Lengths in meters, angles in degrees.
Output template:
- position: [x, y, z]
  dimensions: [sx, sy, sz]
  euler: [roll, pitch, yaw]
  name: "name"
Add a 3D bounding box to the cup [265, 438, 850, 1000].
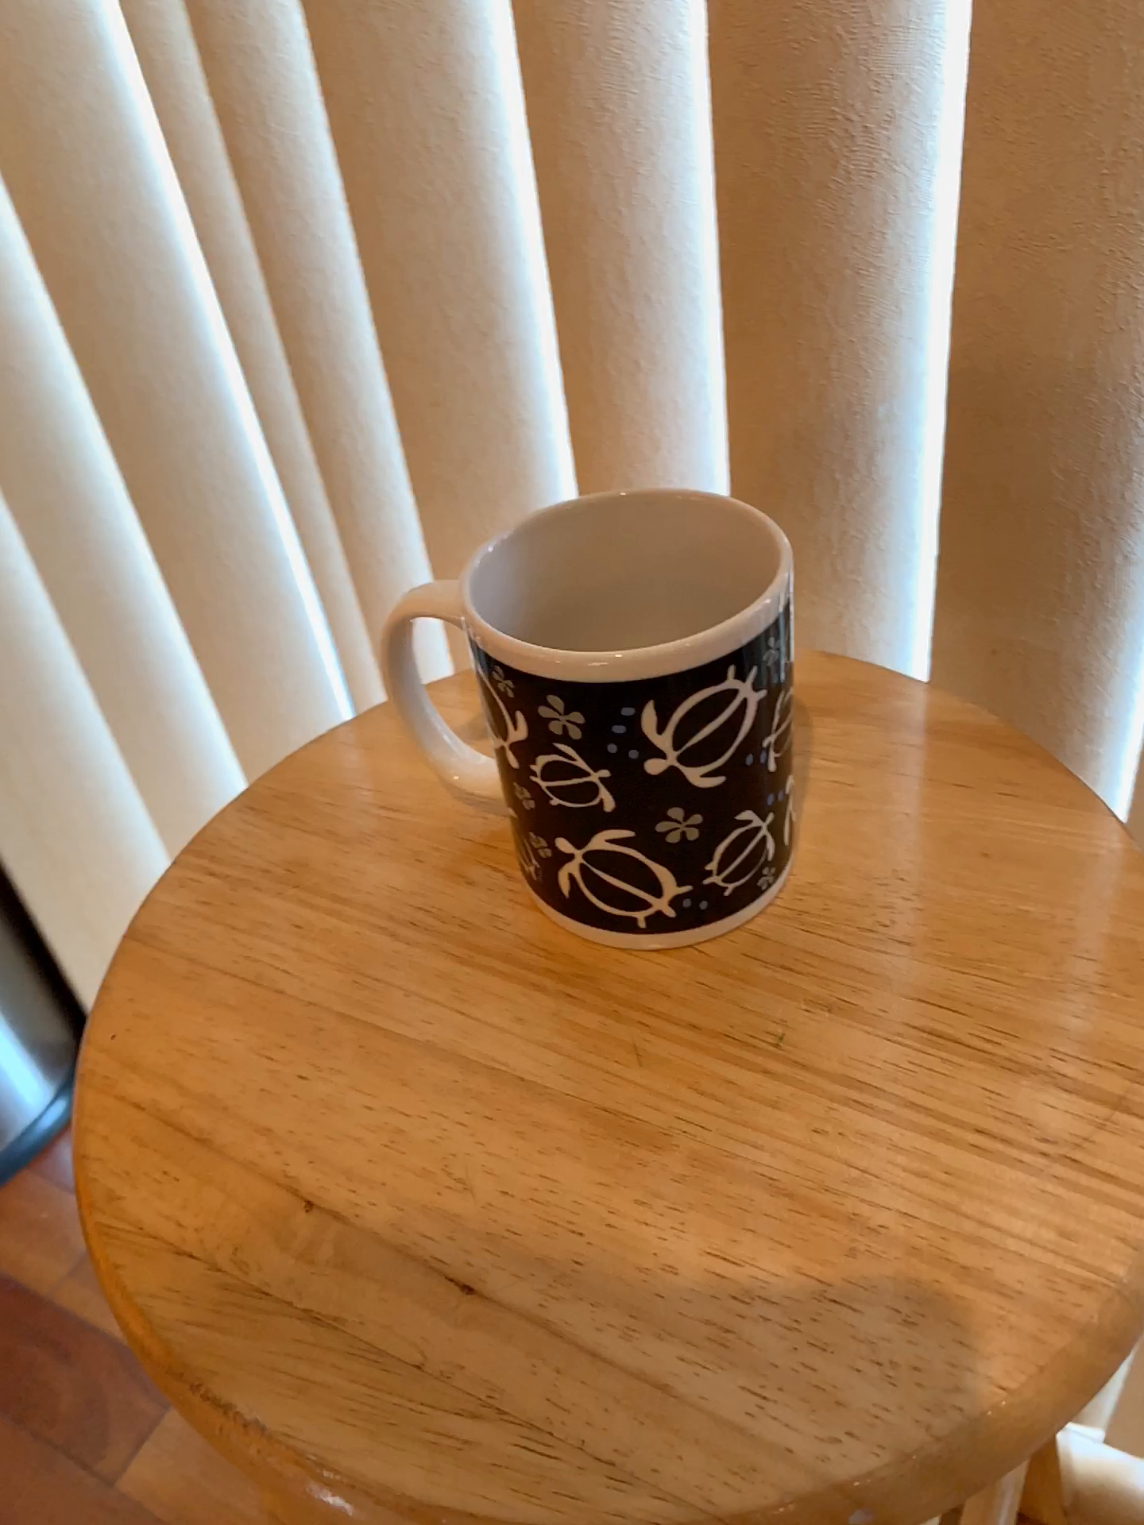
- position: [0.002, -0.018, 0.331]
  dimensions: [0.120, 0.099, 0.090]
  euler: [16, 44, 29]
  name: "cup"
